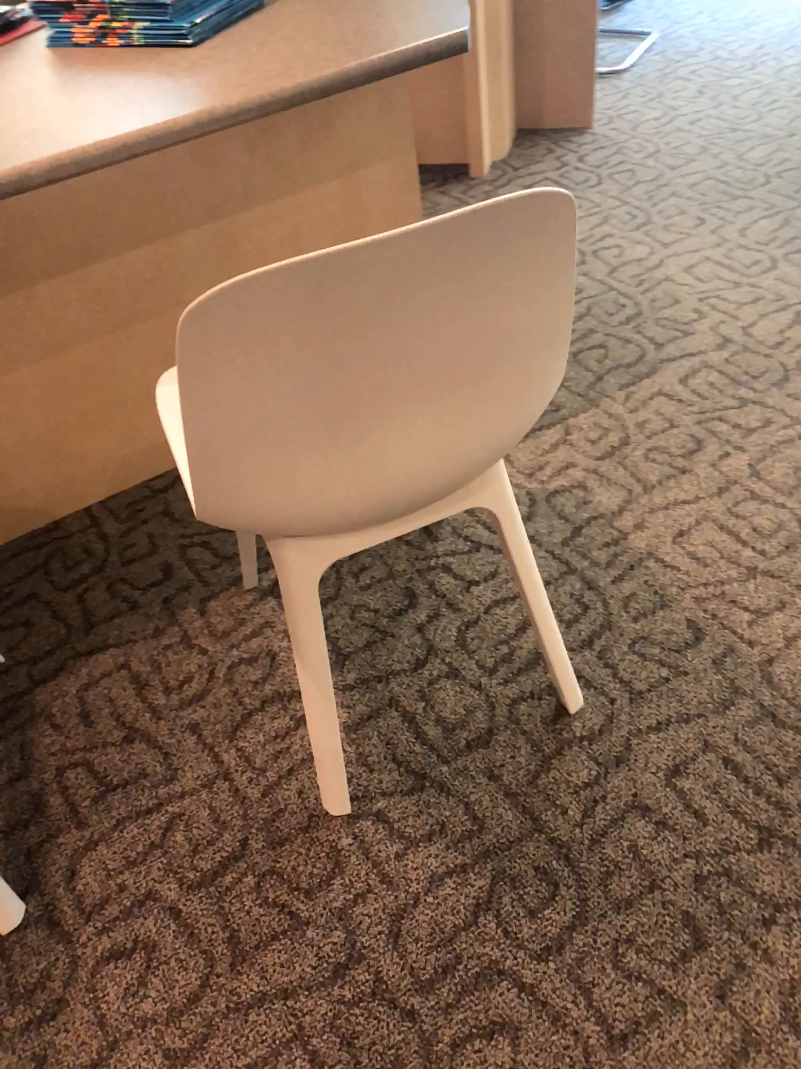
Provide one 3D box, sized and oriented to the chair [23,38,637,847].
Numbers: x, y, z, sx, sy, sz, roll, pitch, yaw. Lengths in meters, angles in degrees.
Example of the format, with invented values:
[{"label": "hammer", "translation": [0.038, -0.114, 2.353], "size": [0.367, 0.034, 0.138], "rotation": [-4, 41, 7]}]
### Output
[{"label": "chair", "translation": [-0.077, -0.108, 1.165], "size": [0.480, 0.794, 0.554], "rotation": [-20, 45, -12]}]
